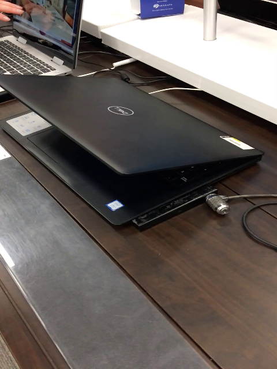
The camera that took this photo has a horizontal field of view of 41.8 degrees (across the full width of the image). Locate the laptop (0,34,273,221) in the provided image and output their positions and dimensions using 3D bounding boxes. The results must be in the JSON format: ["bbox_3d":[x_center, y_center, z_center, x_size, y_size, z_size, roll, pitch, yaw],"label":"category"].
[{"bbox_3d":[-0.042,-0.115,0.590,0.243,0.109,0.349,-32,52,-22],"label":"laptop"}]
